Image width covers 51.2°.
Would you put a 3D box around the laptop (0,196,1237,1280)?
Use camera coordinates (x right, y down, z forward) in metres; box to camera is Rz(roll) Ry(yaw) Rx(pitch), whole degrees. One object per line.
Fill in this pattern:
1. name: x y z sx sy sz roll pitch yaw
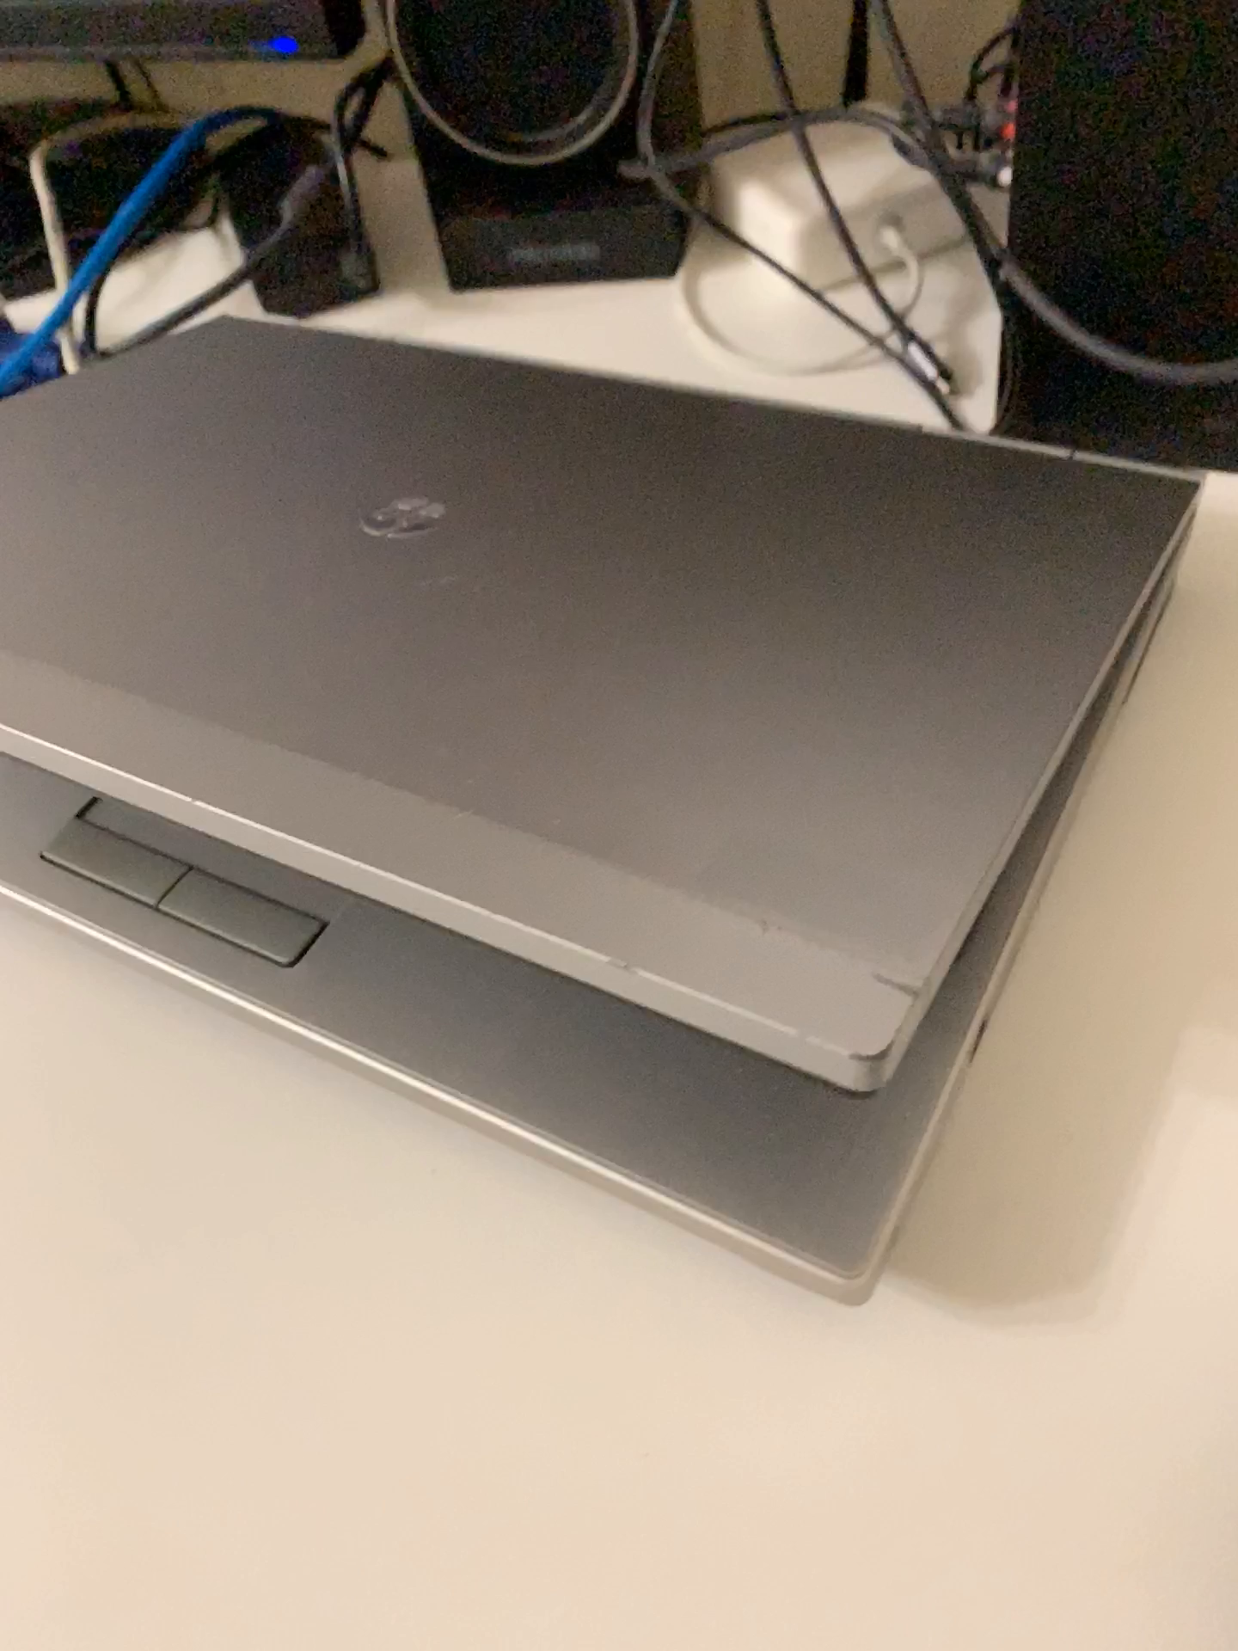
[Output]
1. laptop: -0.043 -0.060 0.299 0.304 0.042 0.200 18 59 25
